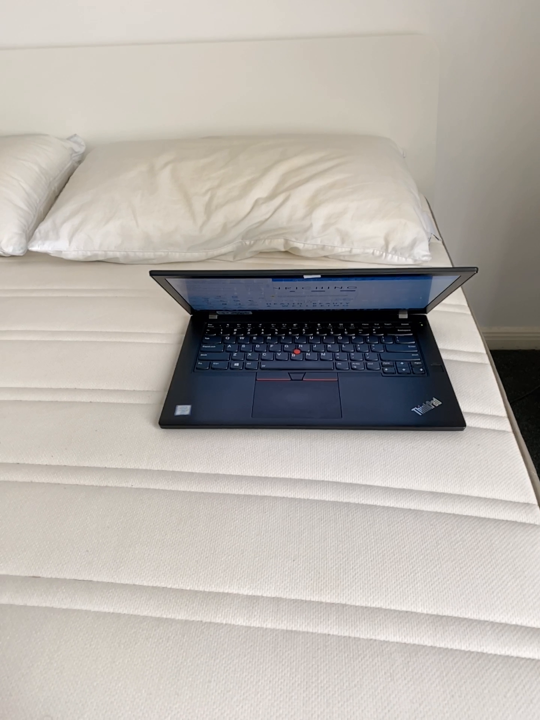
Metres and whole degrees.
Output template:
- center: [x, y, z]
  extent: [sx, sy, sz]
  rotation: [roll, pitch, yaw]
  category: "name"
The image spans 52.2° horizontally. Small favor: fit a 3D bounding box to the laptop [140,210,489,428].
- center: [0.047, -0.056, 0.643]
  extent: [0.324, 0.150, 0.221]
  rotation: [-1, 36, 3]
  category: "laptop"
